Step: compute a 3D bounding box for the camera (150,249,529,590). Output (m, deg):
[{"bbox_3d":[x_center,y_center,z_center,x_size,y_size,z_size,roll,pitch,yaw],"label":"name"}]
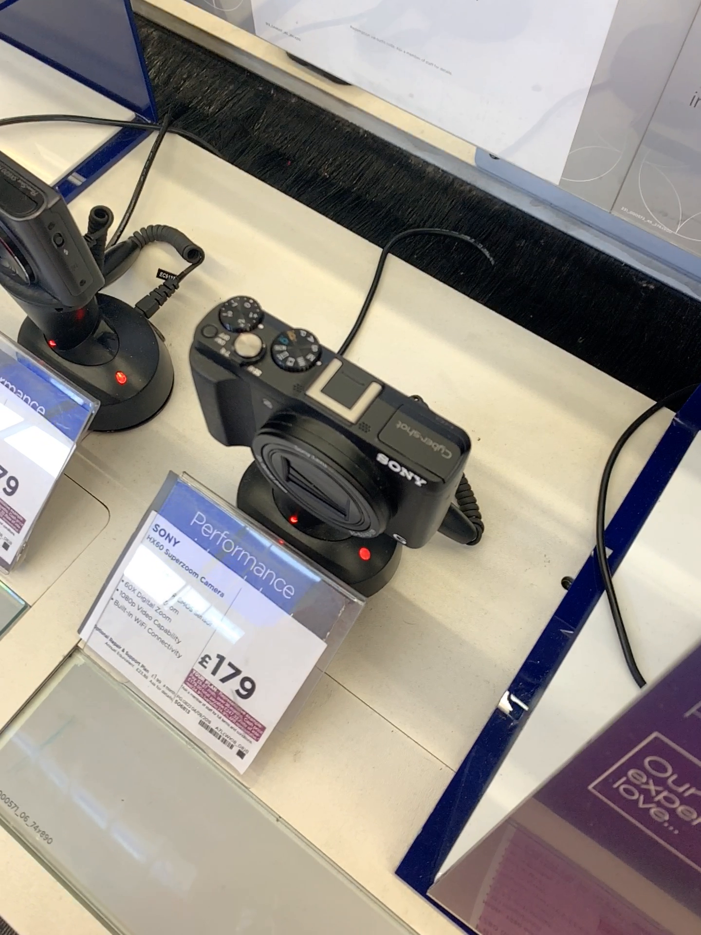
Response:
[{"bbox_3d":[-0.005,-0.014,0.247,0.110,0.070,0.040,31,69,14],"label":"camera"}]
